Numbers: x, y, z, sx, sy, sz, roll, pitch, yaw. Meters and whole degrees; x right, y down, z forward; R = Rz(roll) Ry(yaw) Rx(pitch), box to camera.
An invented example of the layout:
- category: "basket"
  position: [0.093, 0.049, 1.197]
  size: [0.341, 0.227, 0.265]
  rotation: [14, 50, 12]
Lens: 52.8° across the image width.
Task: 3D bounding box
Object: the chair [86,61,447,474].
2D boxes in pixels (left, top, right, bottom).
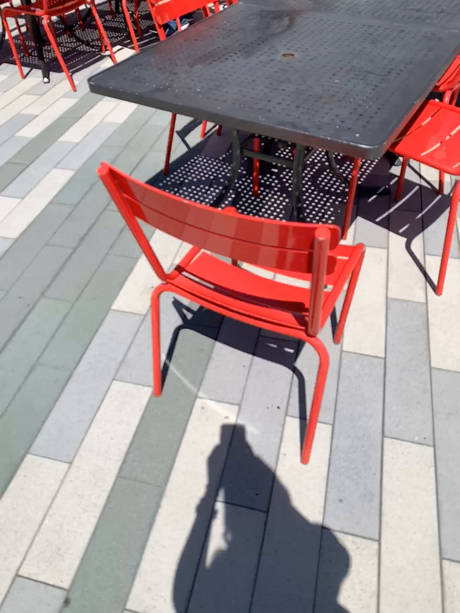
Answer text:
- category: "chair"
  position: [0.121, -0.094, 1.289]
  size: [0.581, 0.845, 0.582]
  rotation: [19, 50, 19]
